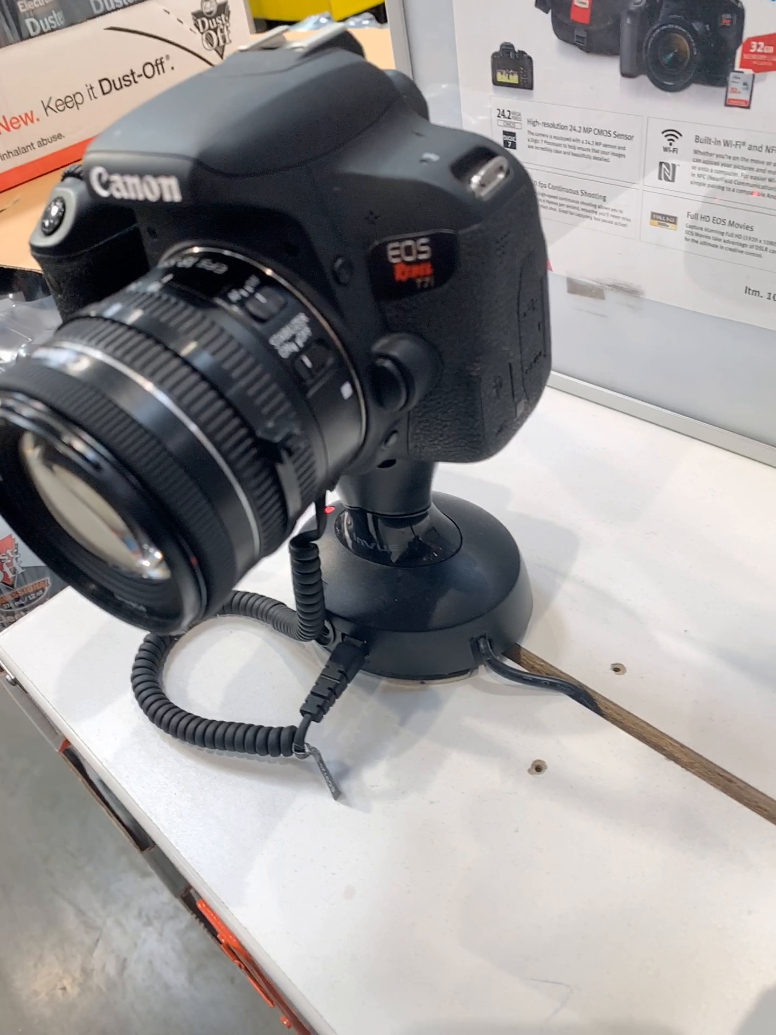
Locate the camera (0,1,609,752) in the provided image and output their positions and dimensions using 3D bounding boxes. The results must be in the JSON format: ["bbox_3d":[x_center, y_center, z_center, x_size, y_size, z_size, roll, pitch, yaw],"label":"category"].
[{"bbox_3d":[-0.038,-0.047,0.182,0.134,0.089,0.121,18,50,30],"label":"camera"}]
